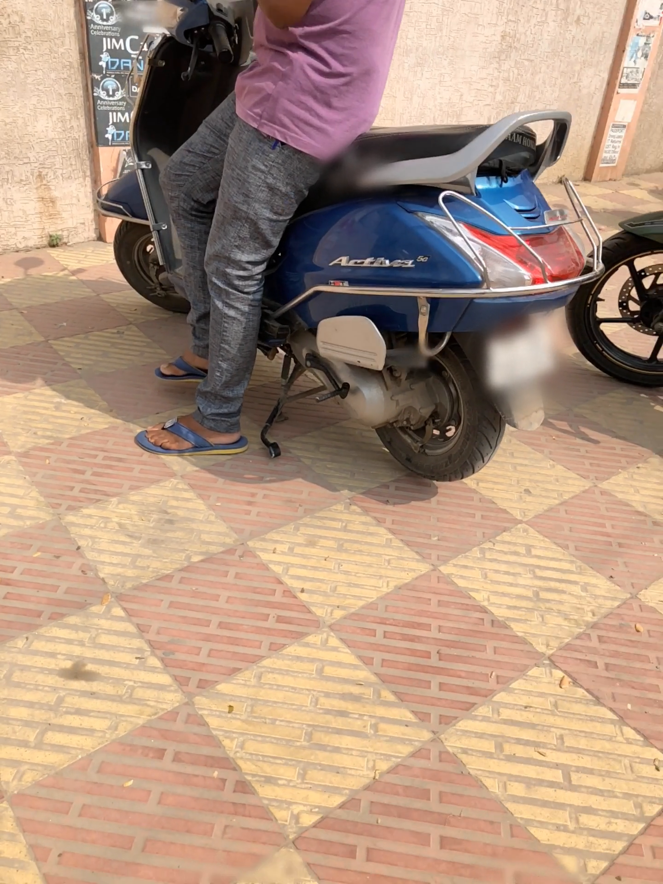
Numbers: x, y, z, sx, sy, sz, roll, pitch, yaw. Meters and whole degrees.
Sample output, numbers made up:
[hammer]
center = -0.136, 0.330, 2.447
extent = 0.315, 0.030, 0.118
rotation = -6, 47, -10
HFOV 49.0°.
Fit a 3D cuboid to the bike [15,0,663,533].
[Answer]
[bike]
center = -0.138, -0.692, 2.026
extent = 0.625, 1.037, 1.702
rotation = -24, 41, -38
